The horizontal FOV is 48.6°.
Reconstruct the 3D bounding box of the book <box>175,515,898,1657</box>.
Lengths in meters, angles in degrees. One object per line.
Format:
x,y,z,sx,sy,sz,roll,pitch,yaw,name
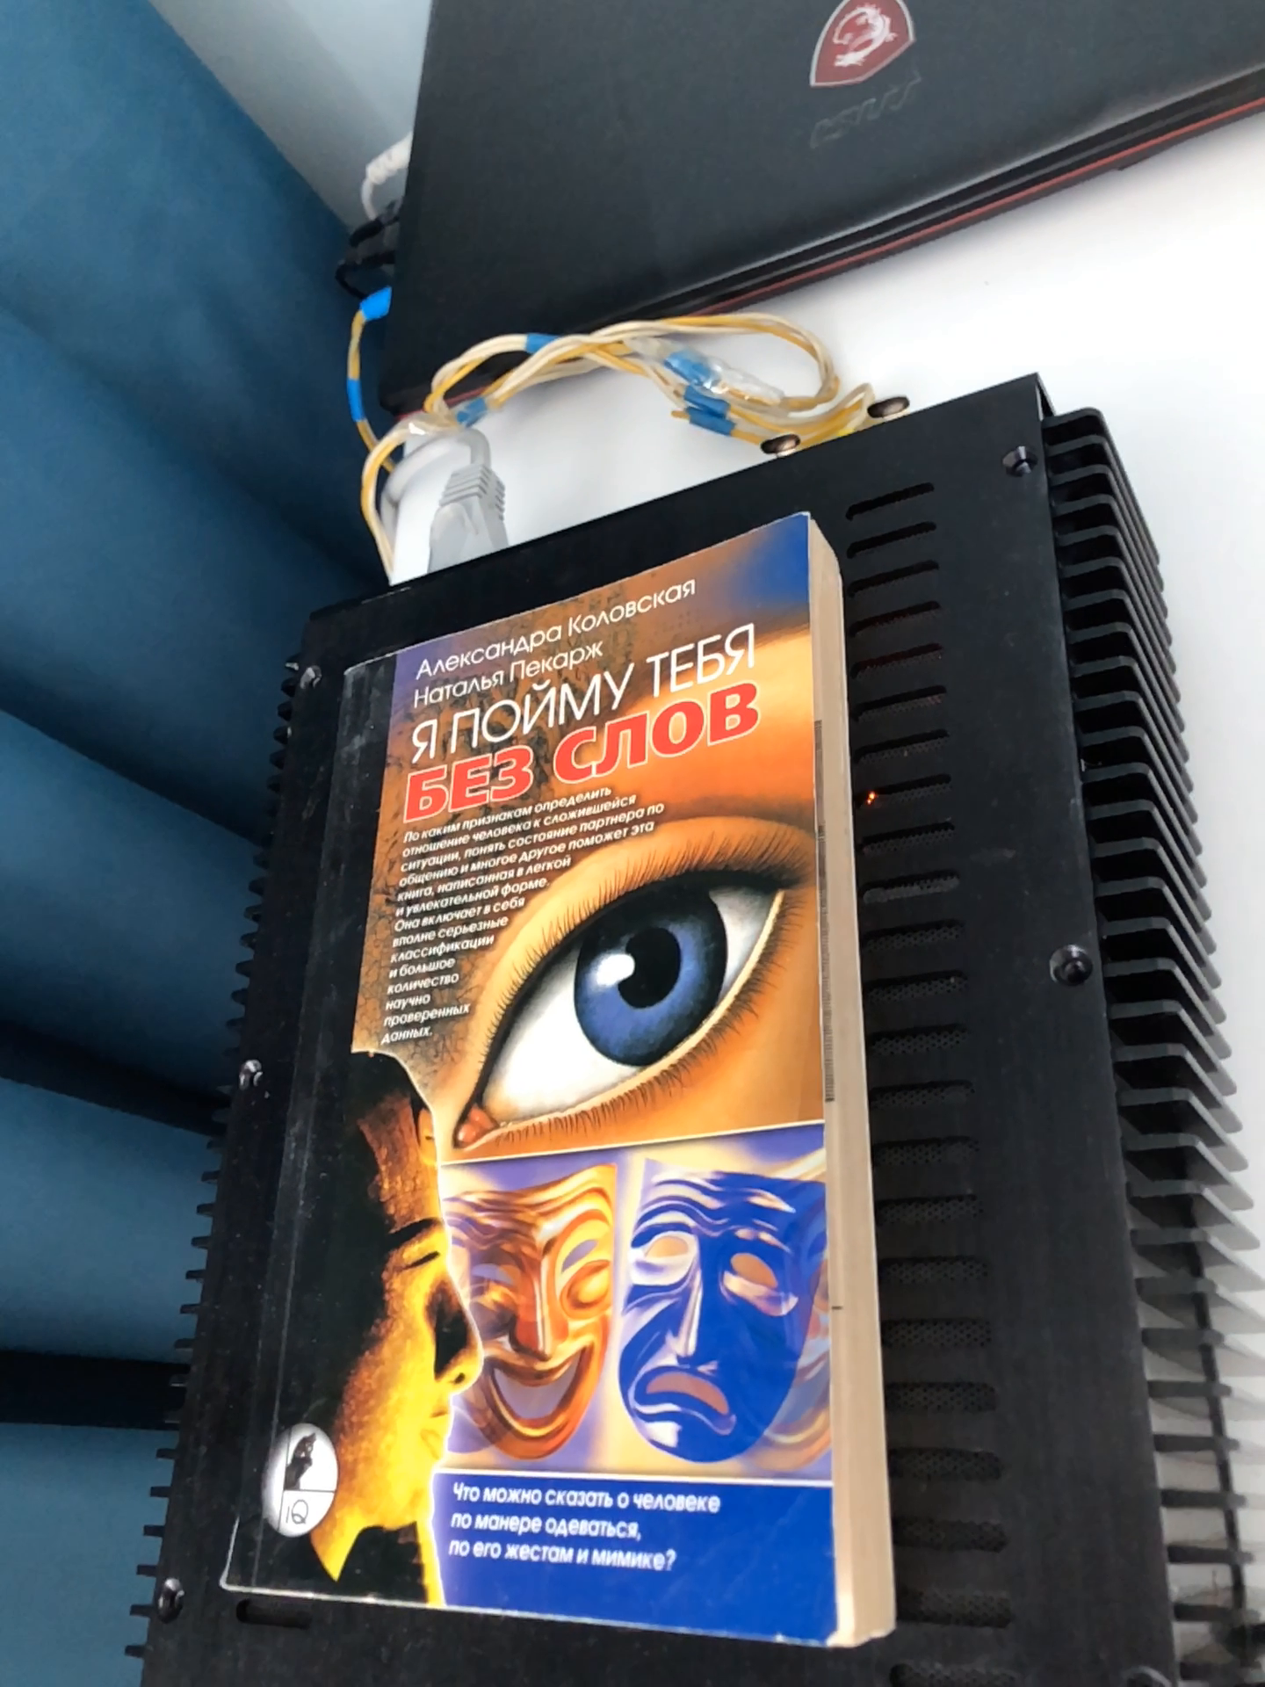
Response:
-0.018,0.038,0.259,0.123,0.023,0.183,-12,62,29,book
